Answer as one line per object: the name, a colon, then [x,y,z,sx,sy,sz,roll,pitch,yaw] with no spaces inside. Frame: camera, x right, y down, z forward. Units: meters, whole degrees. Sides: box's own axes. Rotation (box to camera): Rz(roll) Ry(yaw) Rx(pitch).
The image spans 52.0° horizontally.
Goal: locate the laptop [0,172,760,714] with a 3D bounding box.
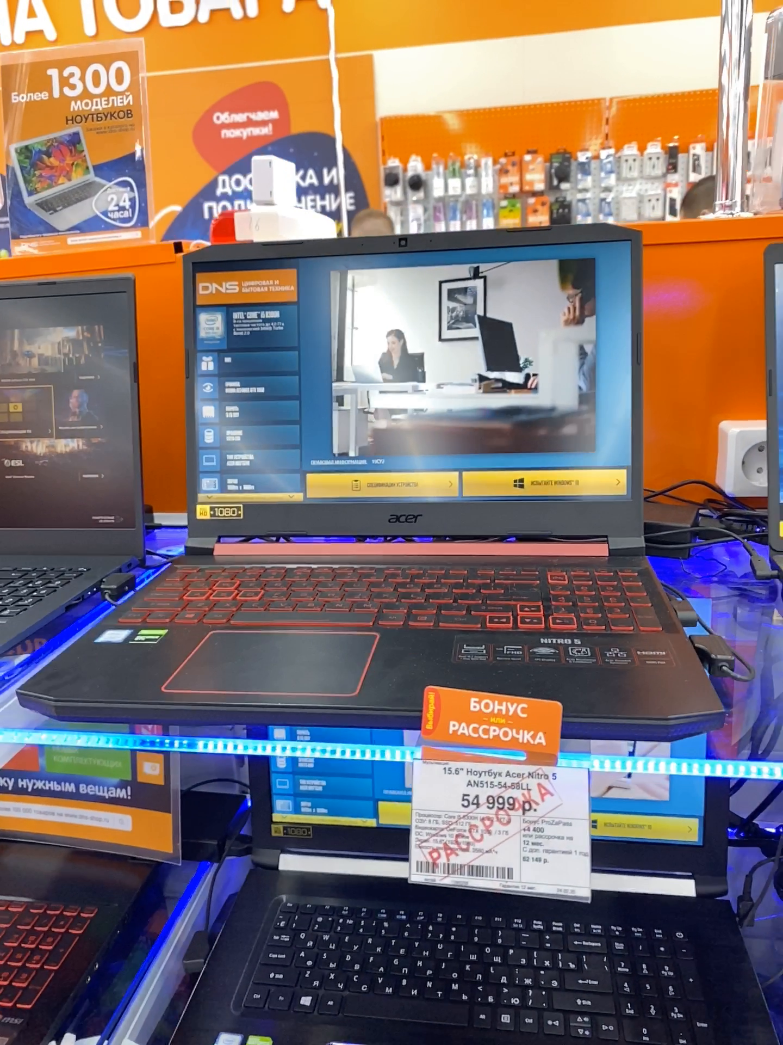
laptop: [-0.006,-0.064,0.516,0.360,0.237,0.303,0,15,8]
